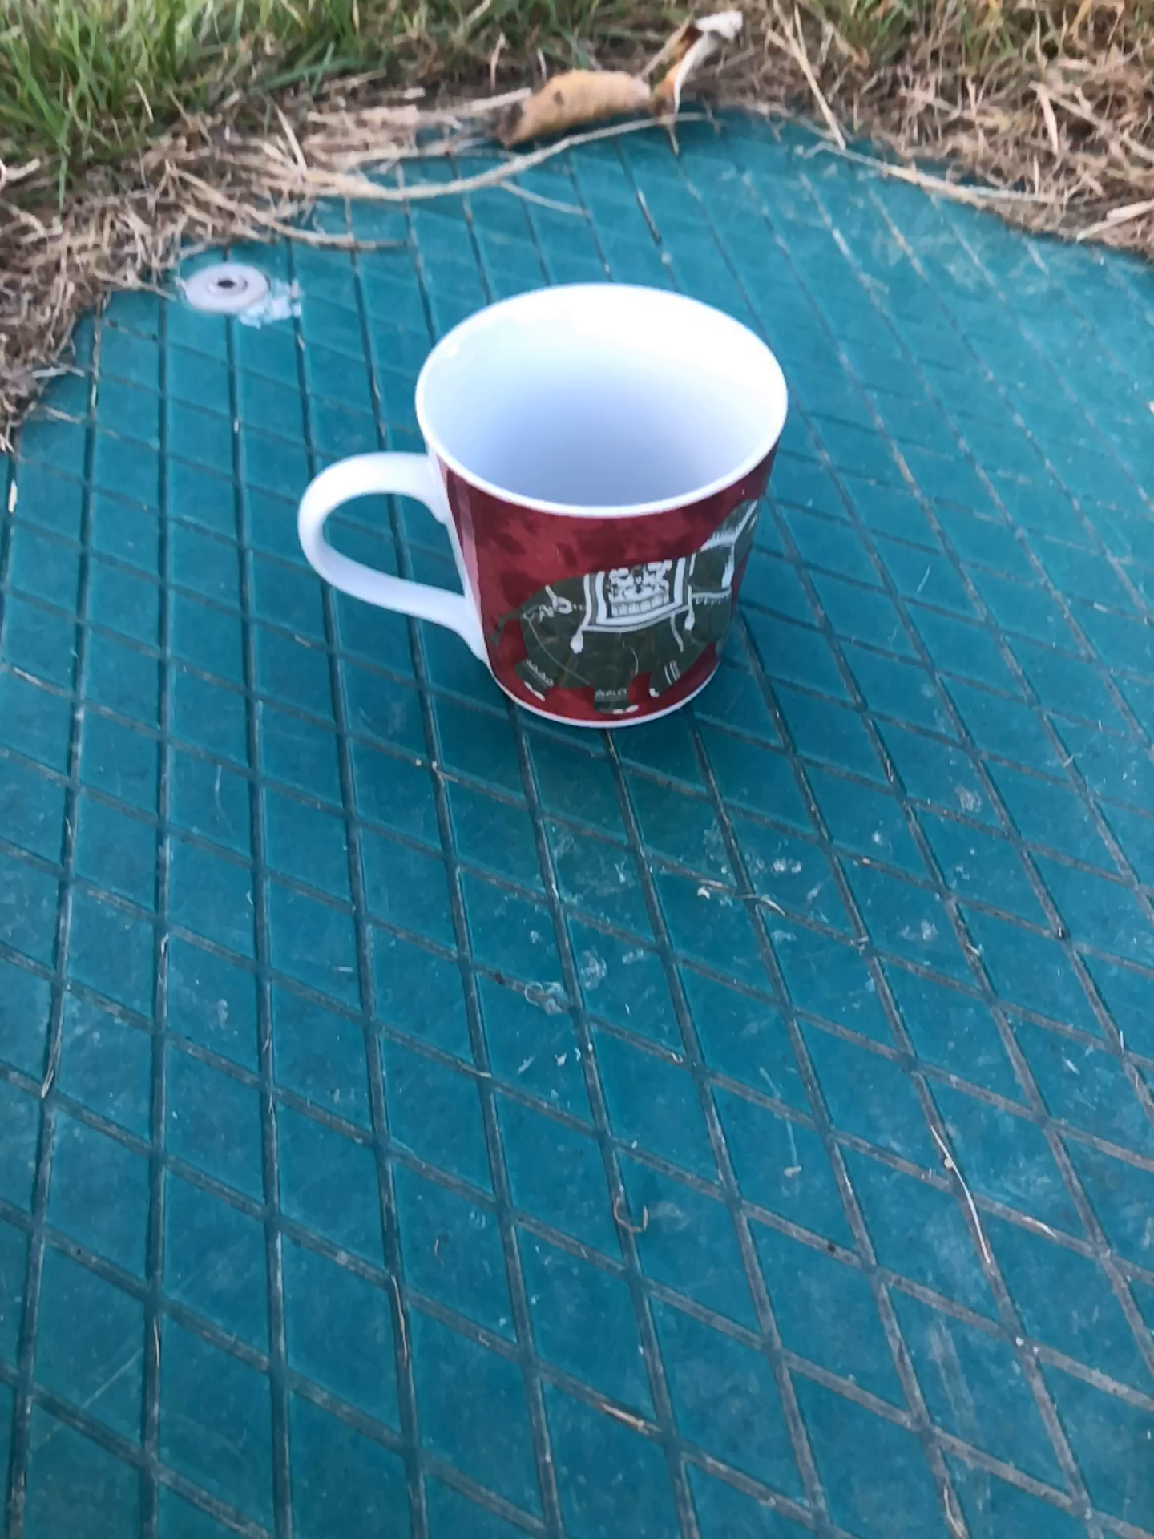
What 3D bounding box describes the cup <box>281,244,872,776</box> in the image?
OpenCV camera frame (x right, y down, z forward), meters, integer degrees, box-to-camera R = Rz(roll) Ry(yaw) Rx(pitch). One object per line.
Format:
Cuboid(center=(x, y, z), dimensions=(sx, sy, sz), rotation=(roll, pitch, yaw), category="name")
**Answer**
Cuboid(center=(-0.004, -0.061, 0.295), dimensions=(0.110, 0.070, 0.082), rotation=(-10, 52, -7), category="cup")
